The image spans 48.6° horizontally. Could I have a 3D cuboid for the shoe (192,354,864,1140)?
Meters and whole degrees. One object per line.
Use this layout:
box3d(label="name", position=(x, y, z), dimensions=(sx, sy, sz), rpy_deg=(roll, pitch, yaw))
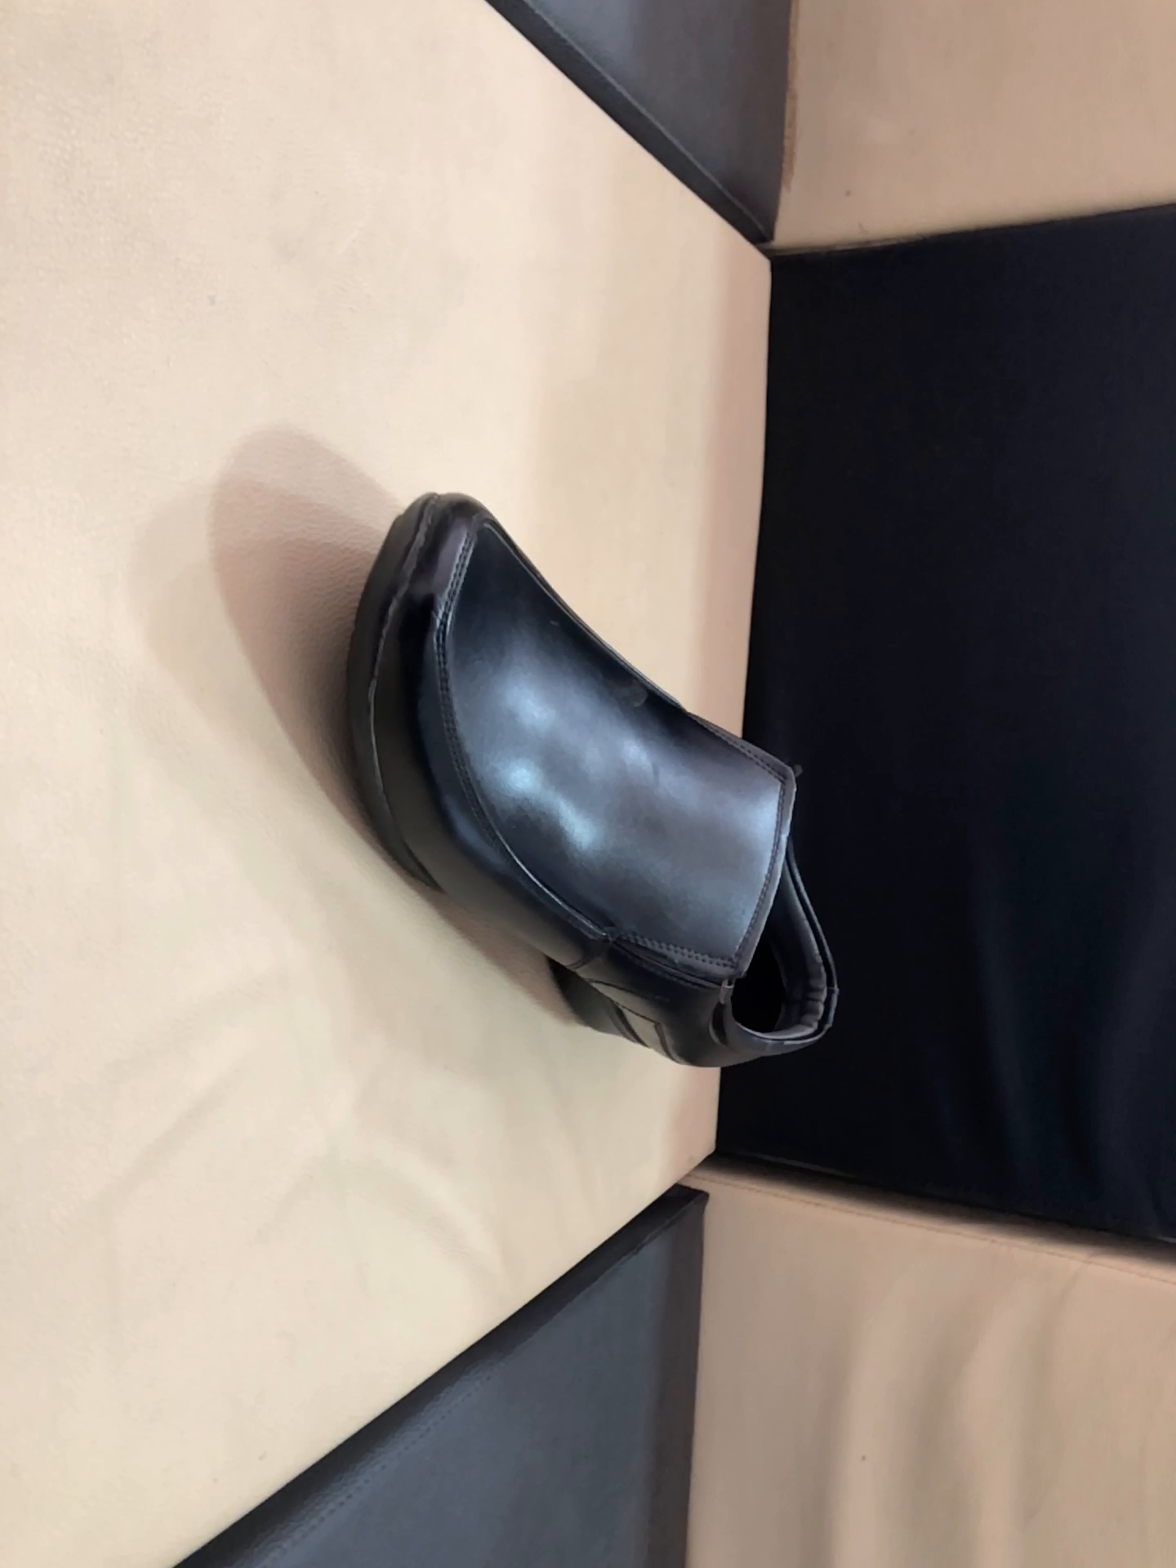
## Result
box3d(label="shoe", position=(0.011, 0.013, 0.465), dimensions=(0.322, 0.099, 0.100), rpy_deg=(59, 44, -49))
